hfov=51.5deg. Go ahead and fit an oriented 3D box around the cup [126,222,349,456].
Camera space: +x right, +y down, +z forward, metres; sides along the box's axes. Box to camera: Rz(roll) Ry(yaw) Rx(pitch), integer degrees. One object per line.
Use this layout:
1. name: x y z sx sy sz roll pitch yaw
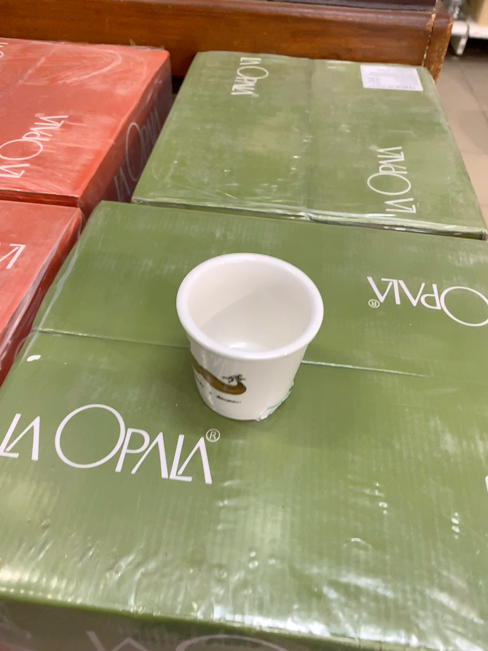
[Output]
1. cup: -0.003 0.003 0.246 0.070 0.060 0.070 1 46 -1
